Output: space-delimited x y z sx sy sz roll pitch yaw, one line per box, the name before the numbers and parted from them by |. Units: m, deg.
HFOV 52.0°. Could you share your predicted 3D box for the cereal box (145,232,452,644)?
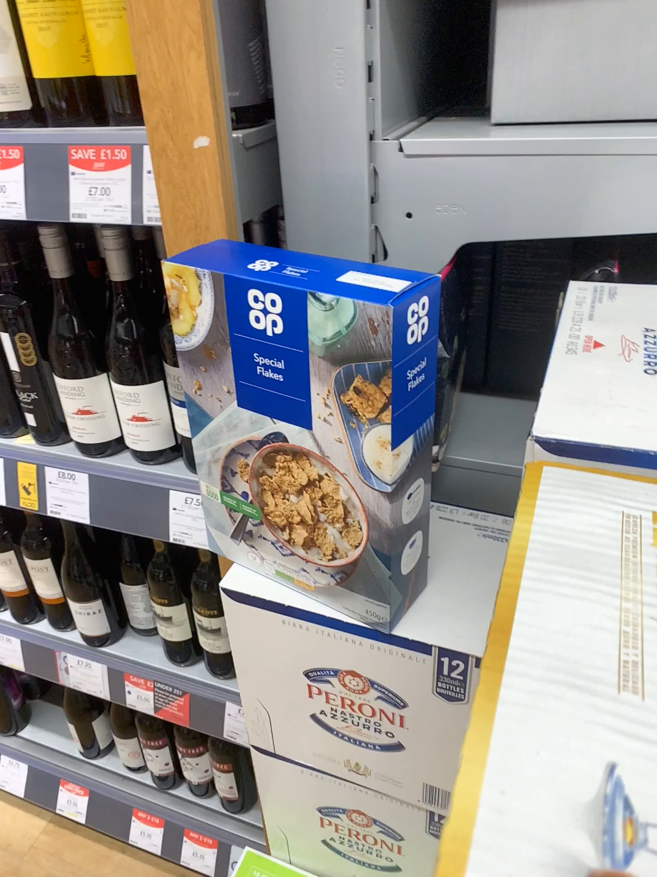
cereal box | -0.018 -0.002 0.513 0.201 0.267 0.070 17 37 31
